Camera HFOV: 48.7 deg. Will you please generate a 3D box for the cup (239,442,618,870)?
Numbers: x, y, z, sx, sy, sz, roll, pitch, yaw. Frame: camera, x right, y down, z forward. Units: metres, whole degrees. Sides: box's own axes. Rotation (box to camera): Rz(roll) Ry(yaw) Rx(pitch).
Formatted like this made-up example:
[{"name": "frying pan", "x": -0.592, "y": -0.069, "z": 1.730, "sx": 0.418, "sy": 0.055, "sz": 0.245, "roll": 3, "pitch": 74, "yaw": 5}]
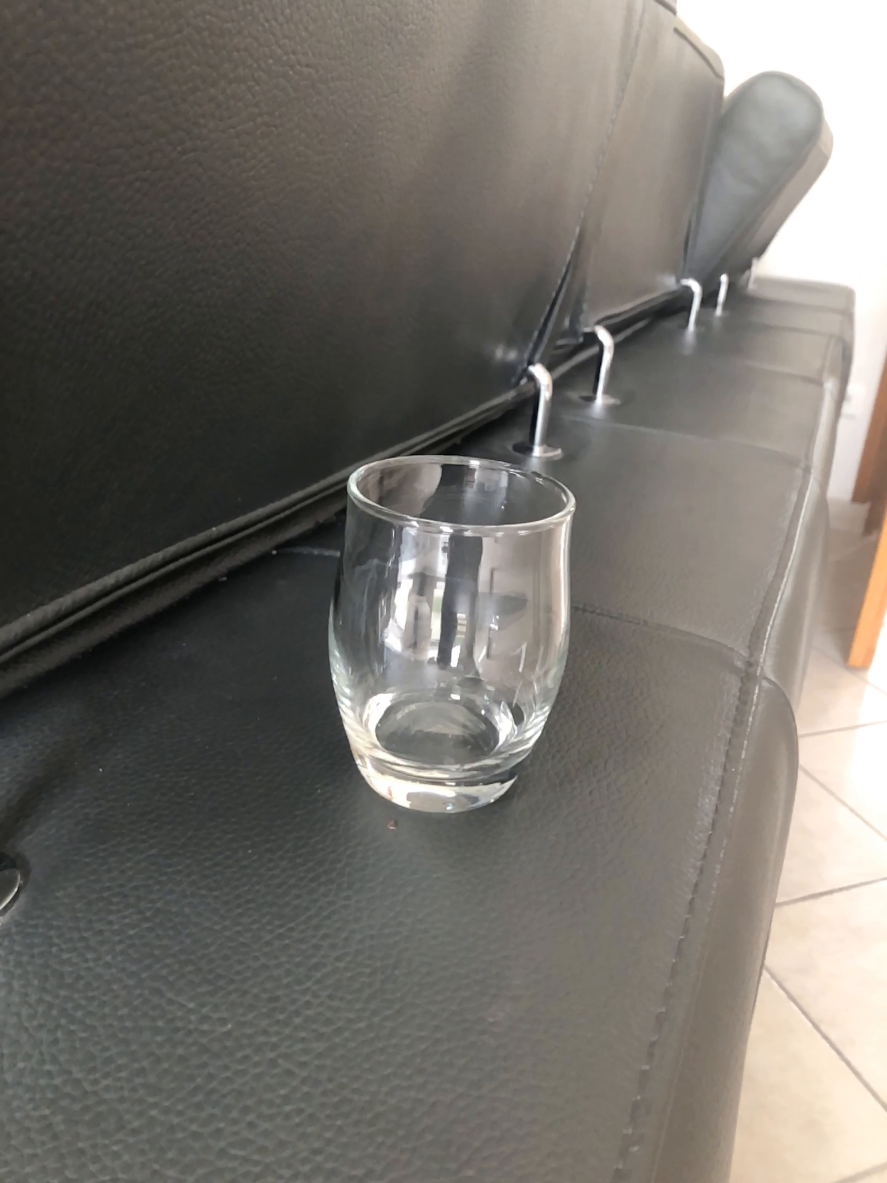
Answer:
[{"name": "cup", "x": -0.005, "y": 0.013, "z": 0.303, "sx": 0.080, "sy": 0.090, "sz": 0.081, "roll": 4, "pitch": 23, "yaw": -2}]
